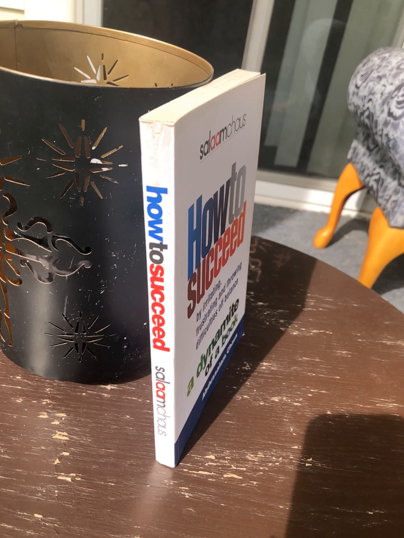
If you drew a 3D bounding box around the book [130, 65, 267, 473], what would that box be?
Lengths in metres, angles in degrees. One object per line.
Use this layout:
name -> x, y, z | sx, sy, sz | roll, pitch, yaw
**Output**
book -> 0.004, -0.002, 0.274 | 0.018, 0.207, 0.139 | 12, 33, 17
